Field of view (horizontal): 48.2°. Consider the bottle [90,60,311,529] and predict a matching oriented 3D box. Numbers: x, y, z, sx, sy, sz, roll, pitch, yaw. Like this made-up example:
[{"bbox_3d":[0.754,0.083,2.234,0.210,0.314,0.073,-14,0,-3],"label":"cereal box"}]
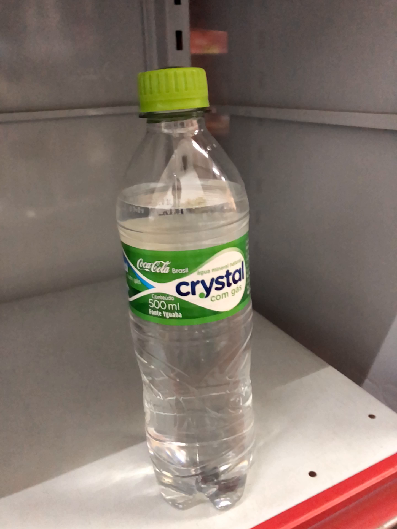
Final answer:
[{"bbox_3d":[0.001,0.022,0.216,0.070,0.219,0.060,-10,23,-20],"label":"bottle"}]
